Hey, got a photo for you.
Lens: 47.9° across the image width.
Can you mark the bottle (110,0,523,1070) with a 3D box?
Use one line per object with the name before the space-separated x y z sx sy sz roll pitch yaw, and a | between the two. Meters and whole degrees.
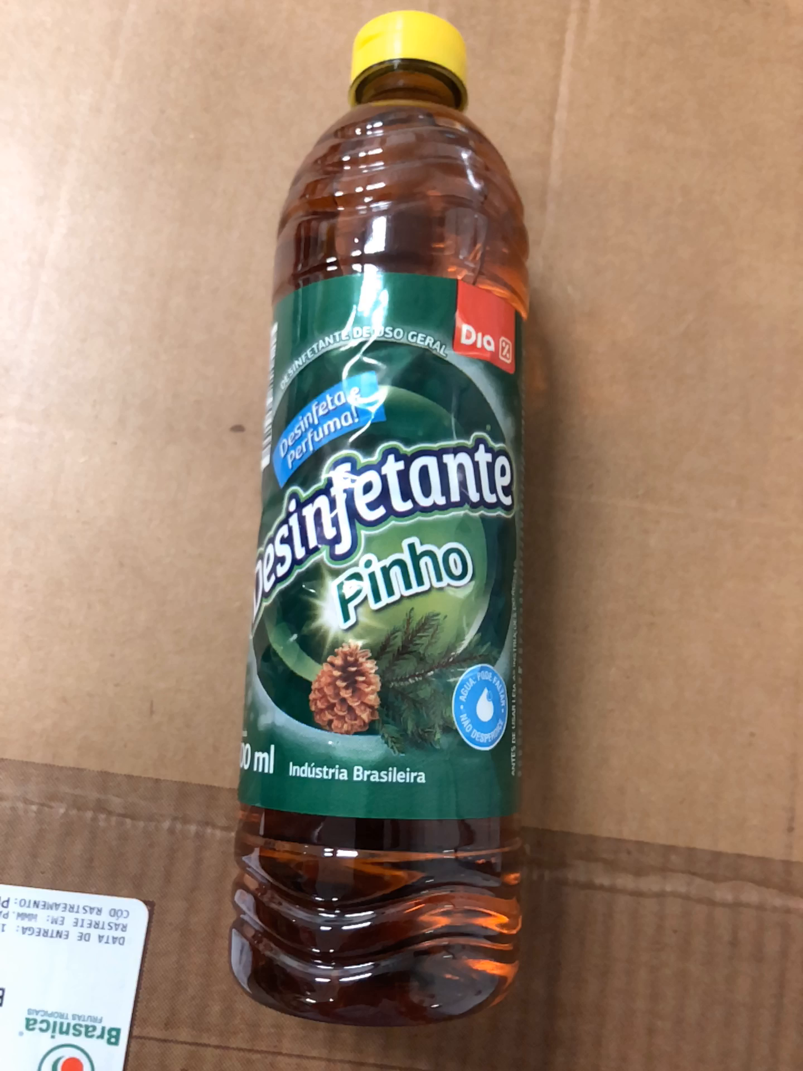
bottle | -0.006 -0.014 0.195 0.060 0.070 0.220 -1 76 10
